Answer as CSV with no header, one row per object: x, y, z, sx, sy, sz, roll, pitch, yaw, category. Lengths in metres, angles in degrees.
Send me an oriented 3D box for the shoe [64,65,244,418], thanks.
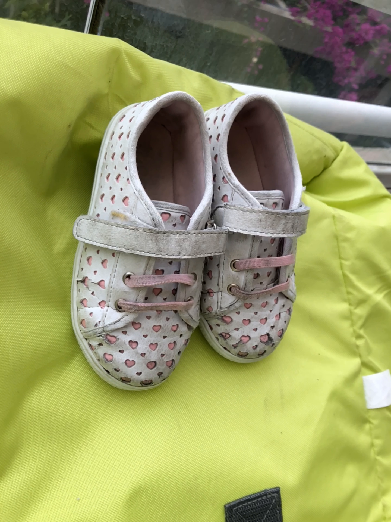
-0.027,-0.009,0.262,0.081,0.060,0.176,4,90,-26,shoe

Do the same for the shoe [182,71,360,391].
0.048,-0.018,0.285,0.081,0.060,0.176,-5,90,-31,shoe
